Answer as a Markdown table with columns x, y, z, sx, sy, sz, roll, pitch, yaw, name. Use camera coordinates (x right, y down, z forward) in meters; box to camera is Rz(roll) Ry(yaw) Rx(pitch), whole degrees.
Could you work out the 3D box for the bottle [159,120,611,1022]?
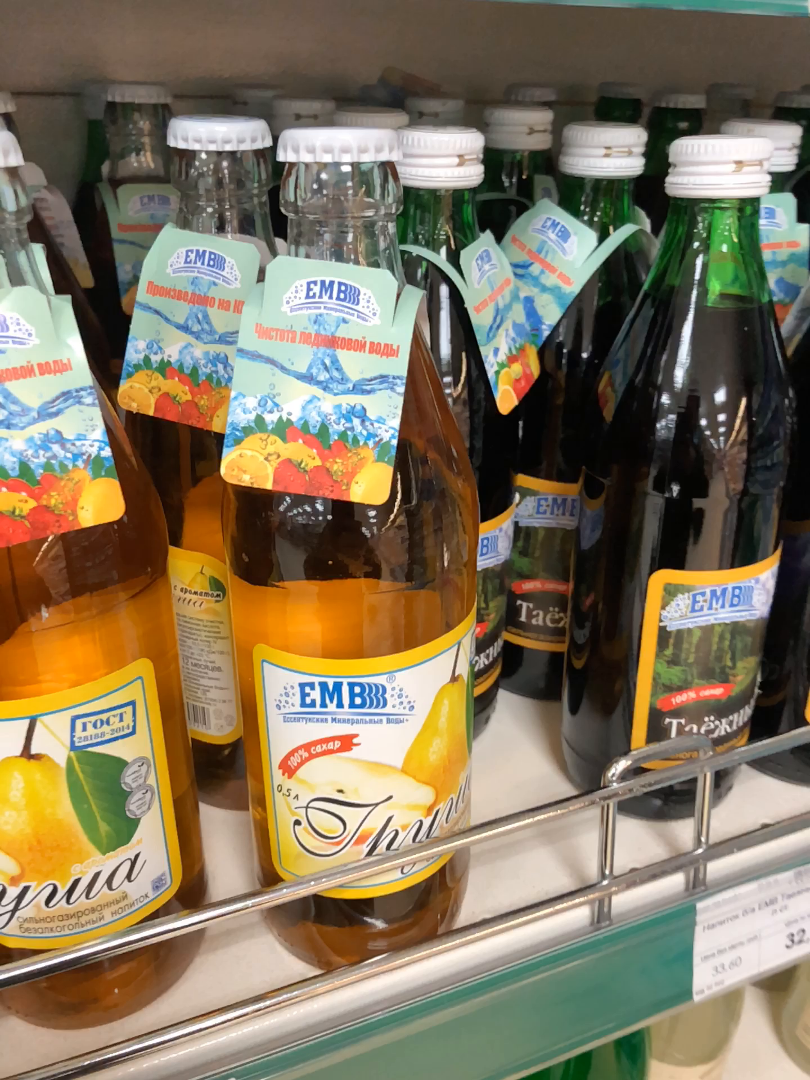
| x | y | z | sx | sy | sz | roll | pitch | yaw | name |
| --- | --- | --- | --- | --- | --- | --- | --- | --- | --- |
| -0.009 | 0.012 | 0.253 | 0.080 | 0.234 | 0.070 | -11 | 28 | -23 | bottle |
